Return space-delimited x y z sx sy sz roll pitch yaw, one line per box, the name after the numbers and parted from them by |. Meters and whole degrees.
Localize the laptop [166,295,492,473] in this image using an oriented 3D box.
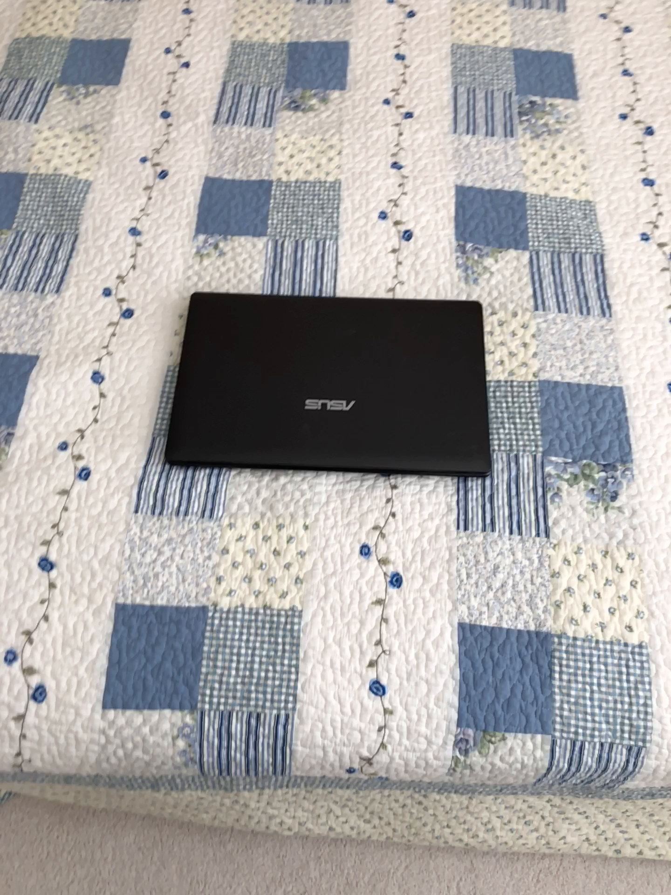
-0.004 -0.084 0.889 0.369 0.006 0.235 2 63 2 | laptop
